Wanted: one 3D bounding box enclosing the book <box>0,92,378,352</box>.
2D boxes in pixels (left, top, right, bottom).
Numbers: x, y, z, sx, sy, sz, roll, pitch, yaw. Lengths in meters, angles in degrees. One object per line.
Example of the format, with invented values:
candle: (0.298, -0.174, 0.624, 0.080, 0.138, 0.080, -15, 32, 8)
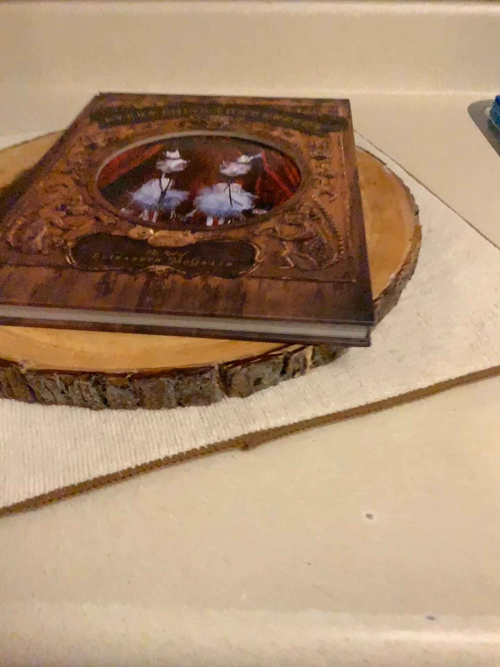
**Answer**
book: (-0.041, -0.106, 0.393, 0.230, 0.020, 0.310, 3, 41, 4)
